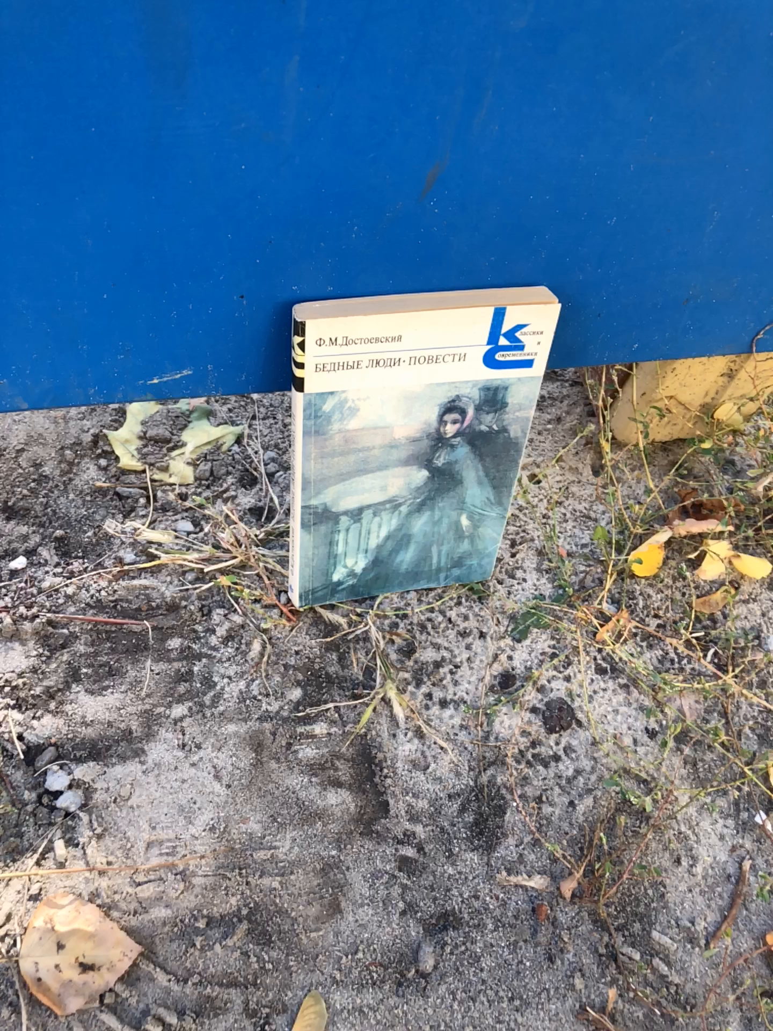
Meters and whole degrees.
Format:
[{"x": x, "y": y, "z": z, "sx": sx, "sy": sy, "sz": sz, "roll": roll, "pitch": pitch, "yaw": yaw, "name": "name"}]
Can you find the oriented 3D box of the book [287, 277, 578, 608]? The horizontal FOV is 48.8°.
[{"x": 0.014, "y": -0.030, "z": 0.446, "sx": 0.127, "sy": 0.187, "sz": 0.026, "roll": -7, "pitch": 46, "yaw": -14, "name": "book"}]
